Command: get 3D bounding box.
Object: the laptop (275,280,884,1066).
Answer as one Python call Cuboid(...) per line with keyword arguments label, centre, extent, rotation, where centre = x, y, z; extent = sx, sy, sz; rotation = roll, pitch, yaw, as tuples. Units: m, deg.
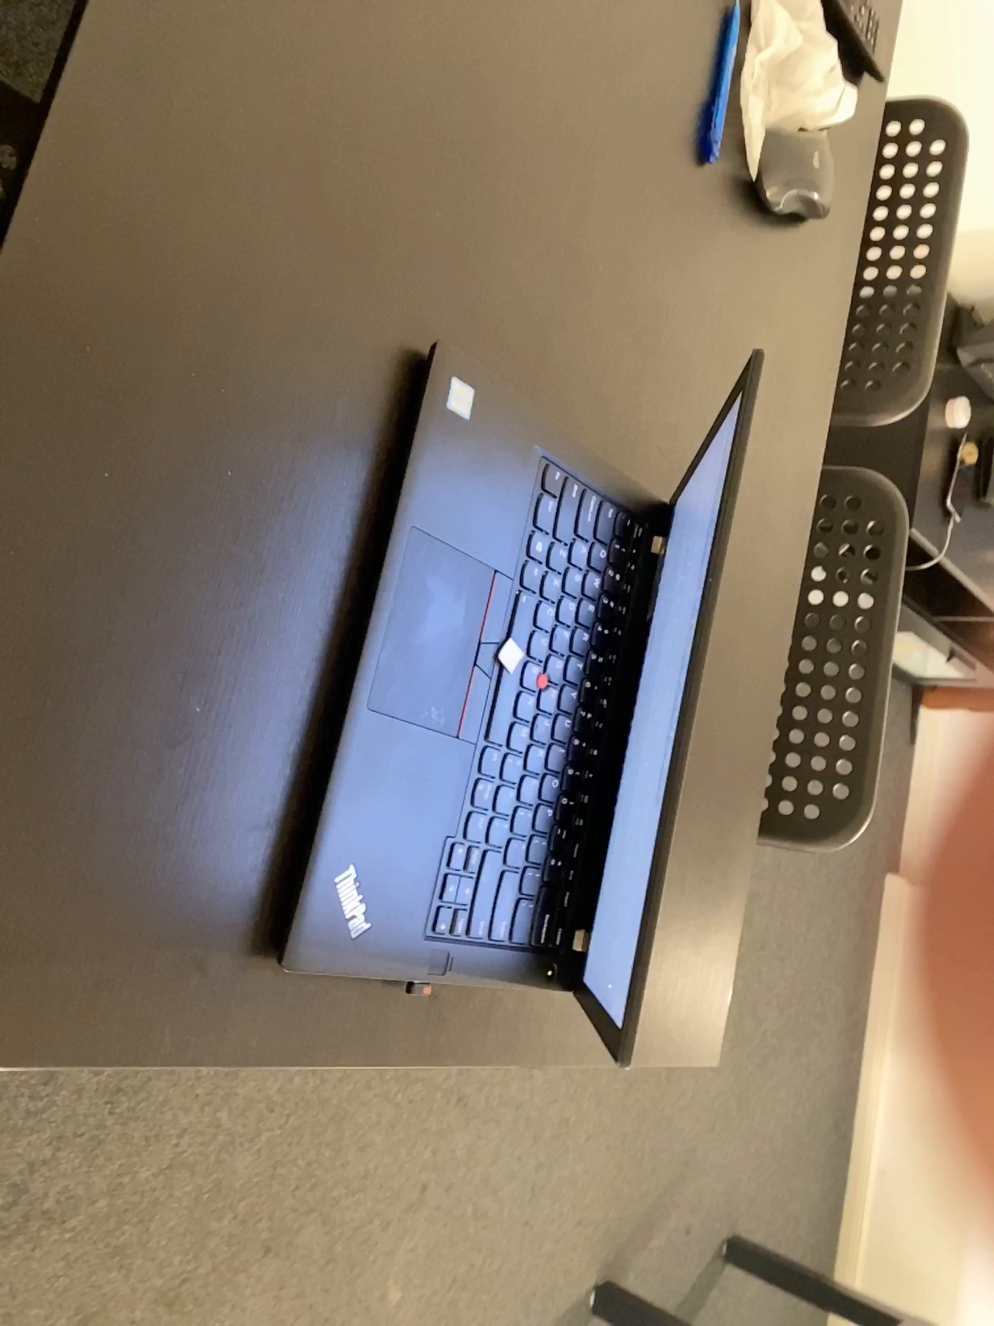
Cuboid(label="laptop", centre=(0.057, 0.020, 0.498), extent=(0.217, 0.138, 0.299), rotation=(21, 77, -45))
